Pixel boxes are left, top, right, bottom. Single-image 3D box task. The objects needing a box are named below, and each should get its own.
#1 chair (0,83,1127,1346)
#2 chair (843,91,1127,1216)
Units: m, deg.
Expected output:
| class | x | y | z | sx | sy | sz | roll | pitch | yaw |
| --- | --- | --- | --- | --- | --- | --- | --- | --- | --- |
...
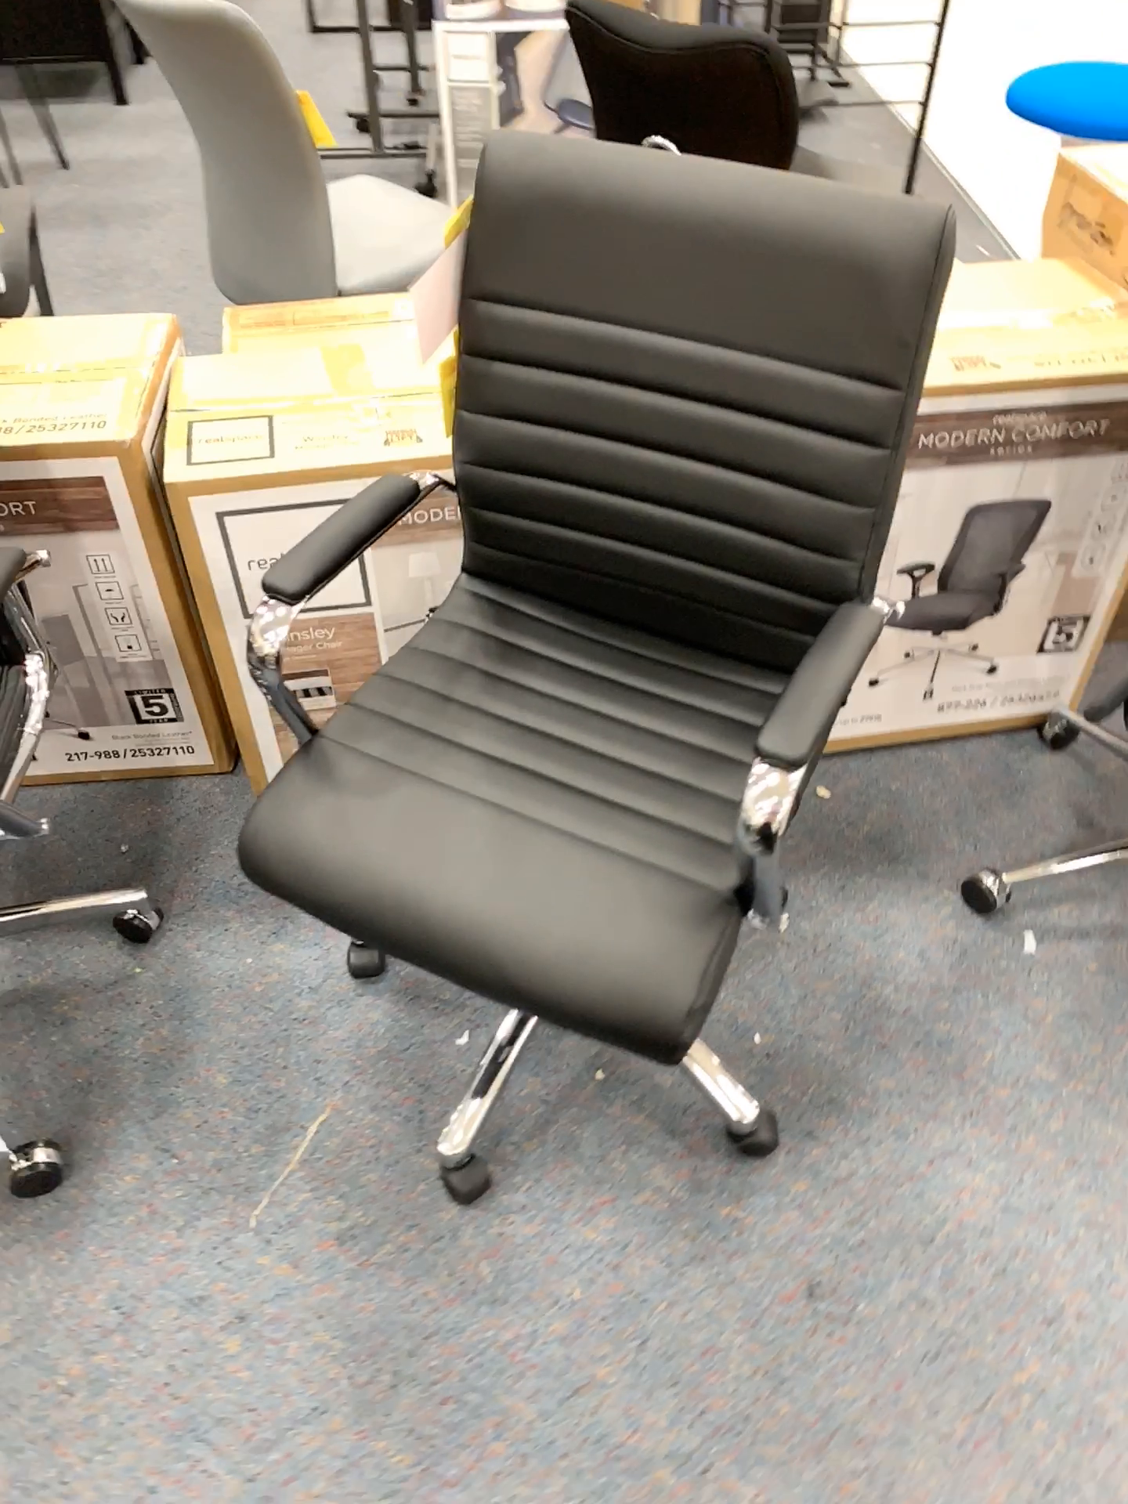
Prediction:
| class | x | y | z | sx | sy | sz | roll | pitch | yaw |
| --- | --- | --- | --- | --- | --- | --- | --- | --- | --- |
| chair | 0.024 | -0.024 | 1.178 | 0.655 | 0.953 | 0.651 | 20 | 49 | 19 |
| chair | 0.926 | -0.141 | 1.351 | 0.735 | 0.874 | 0.722 | -27 | 51 | -24 |
